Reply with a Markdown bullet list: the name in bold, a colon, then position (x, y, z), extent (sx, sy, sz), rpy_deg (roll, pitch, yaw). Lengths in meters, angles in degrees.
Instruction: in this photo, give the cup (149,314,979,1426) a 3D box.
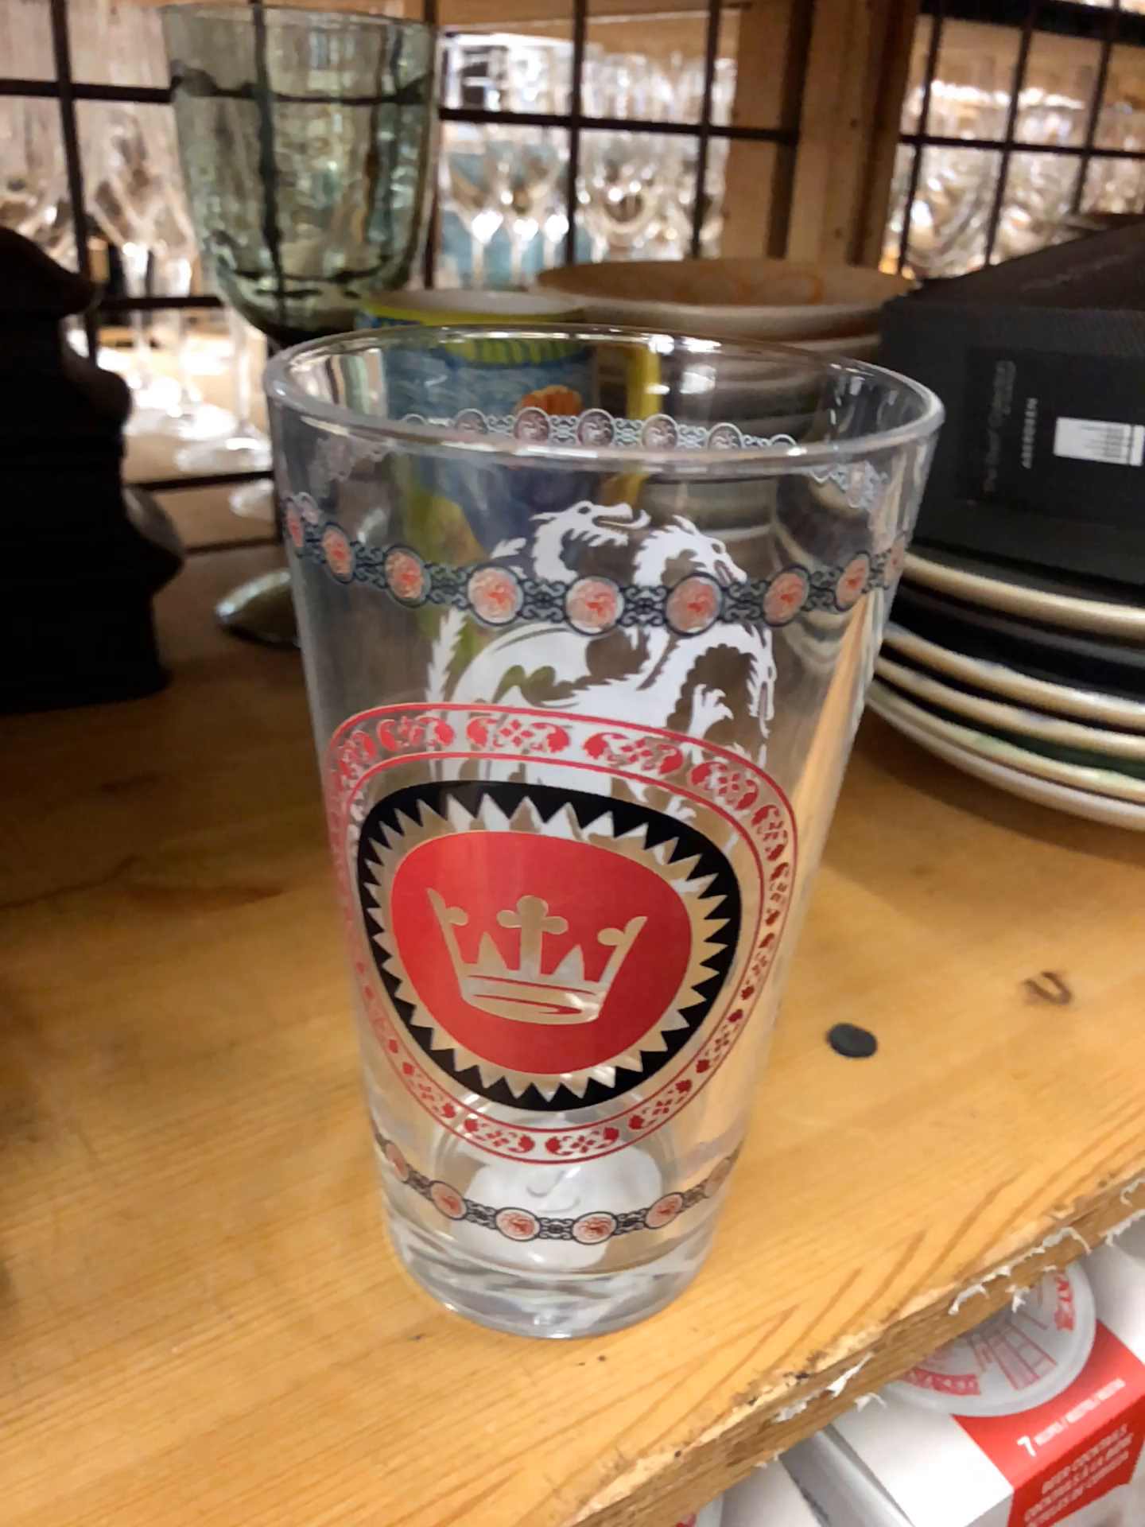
- **cup**: position (0.002, 0.009, 0.194), extent (0.085, 0.132, 0.084), rpy_deg (3, 26, -1)
